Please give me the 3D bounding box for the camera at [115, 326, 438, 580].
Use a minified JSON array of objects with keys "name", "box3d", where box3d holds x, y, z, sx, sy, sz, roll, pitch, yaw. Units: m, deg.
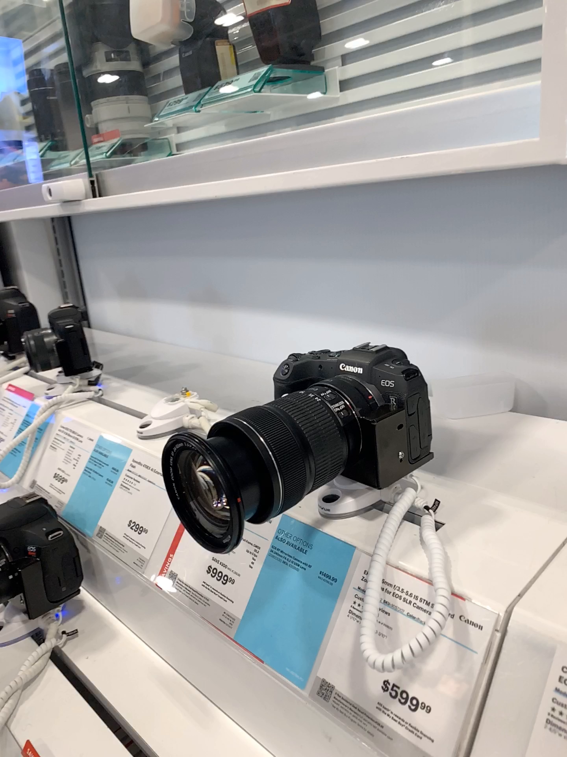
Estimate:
[{"name":"camera","box3d":[0.002,0.036,0.447,0.199,0.100,0.132,-20,21,-37]}]
